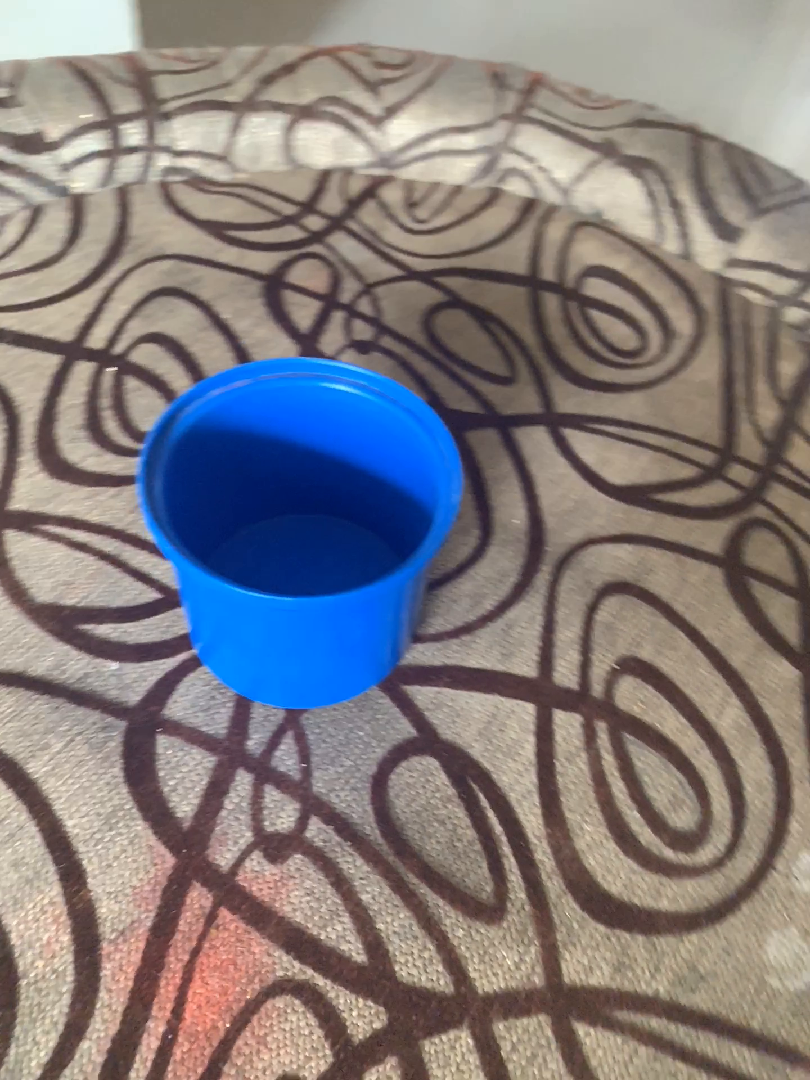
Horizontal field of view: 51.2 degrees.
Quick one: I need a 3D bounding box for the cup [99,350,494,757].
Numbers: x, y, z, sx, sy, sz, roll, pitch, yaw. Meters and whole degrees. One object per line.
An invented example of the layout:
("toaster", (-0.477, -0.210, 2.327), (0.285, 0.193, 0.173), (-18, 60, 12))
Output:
("cup", (-0.027, 0.005, 0.225), (0.080, 0.070, 0.081), (4, 53, -5))
